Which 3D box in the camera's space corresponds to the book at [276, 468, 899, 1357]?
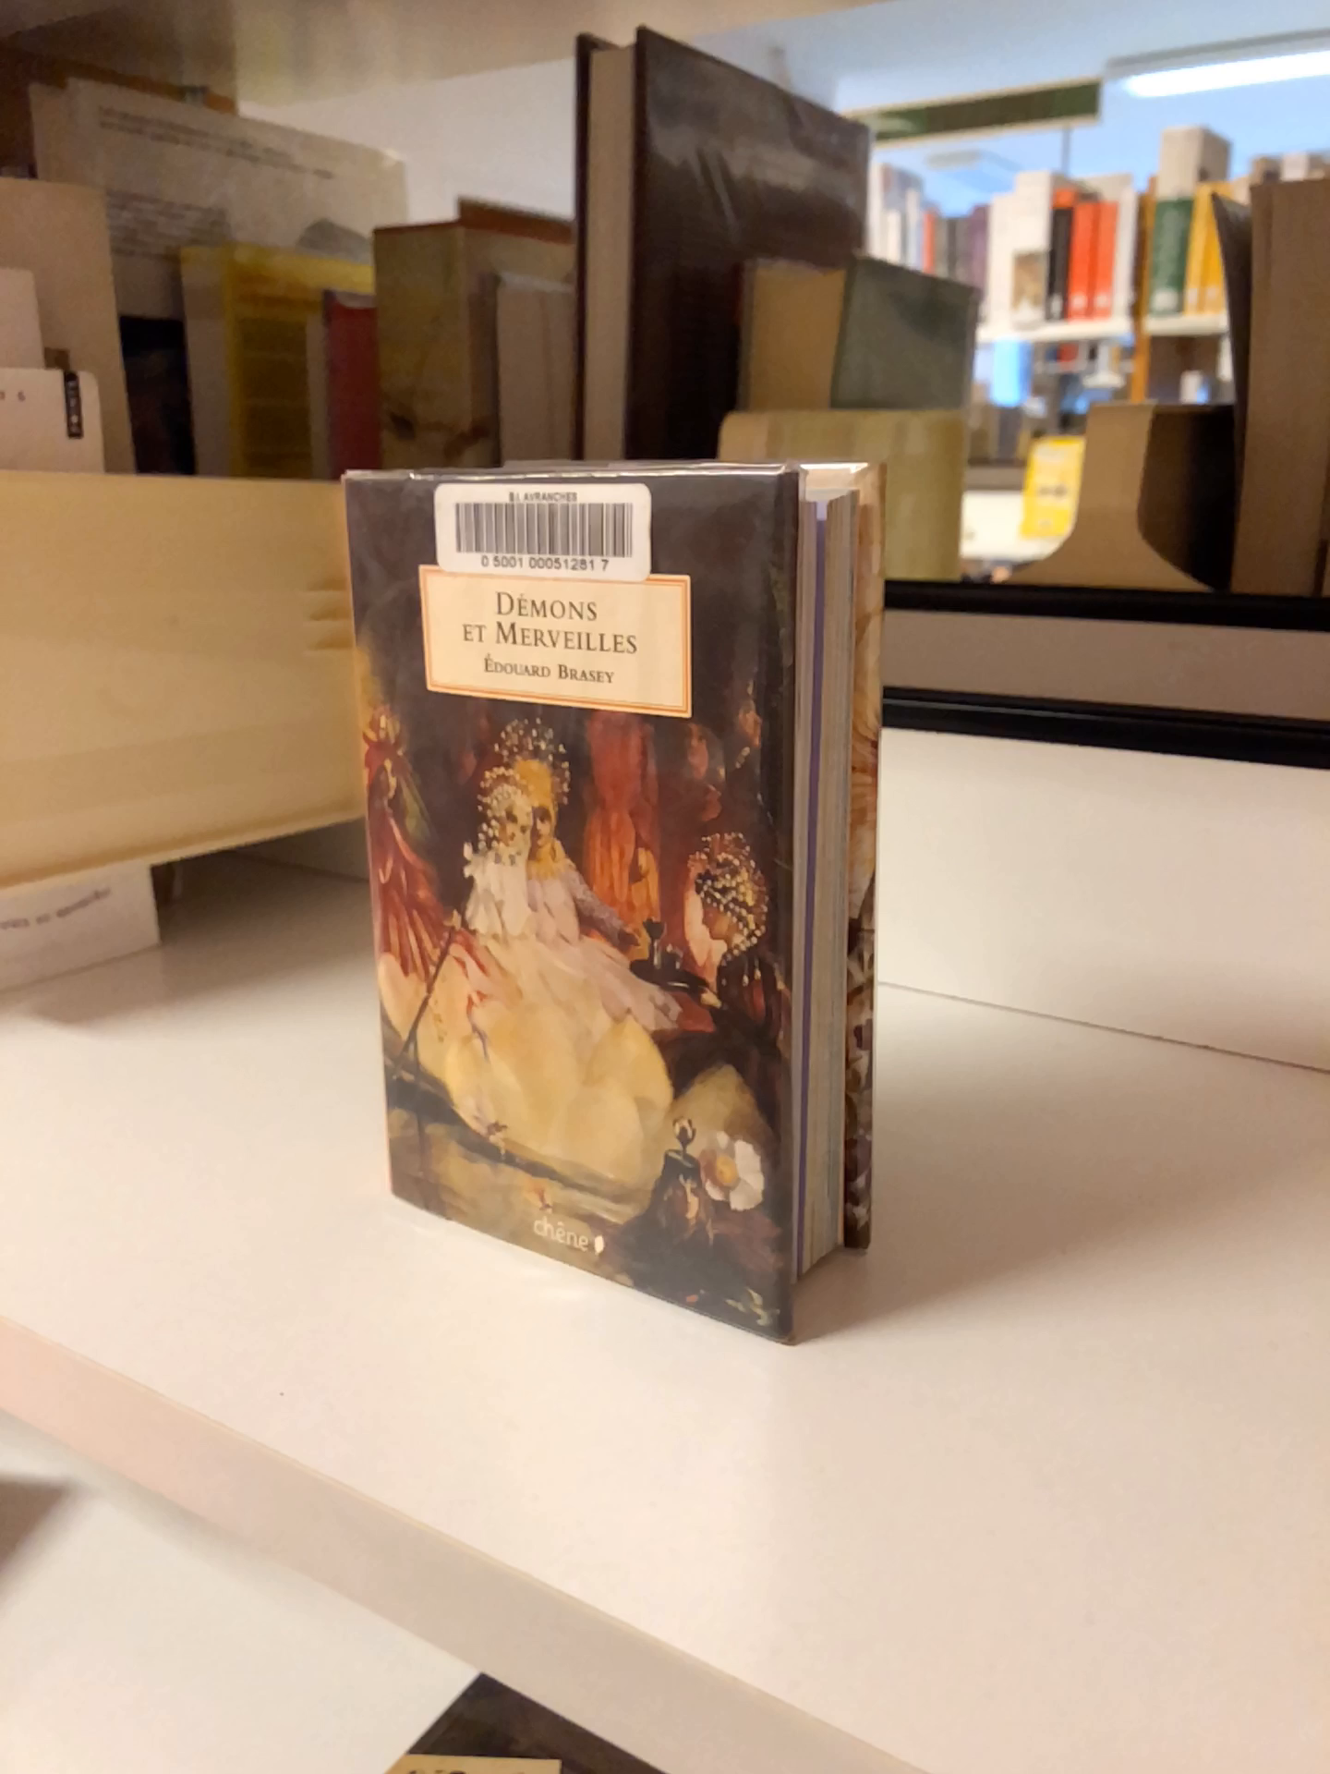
[{"bbox_3d":[-0.018,-0.004,0.300,0.114,0.156,0.047,10,17,34],"label":"book"}]
